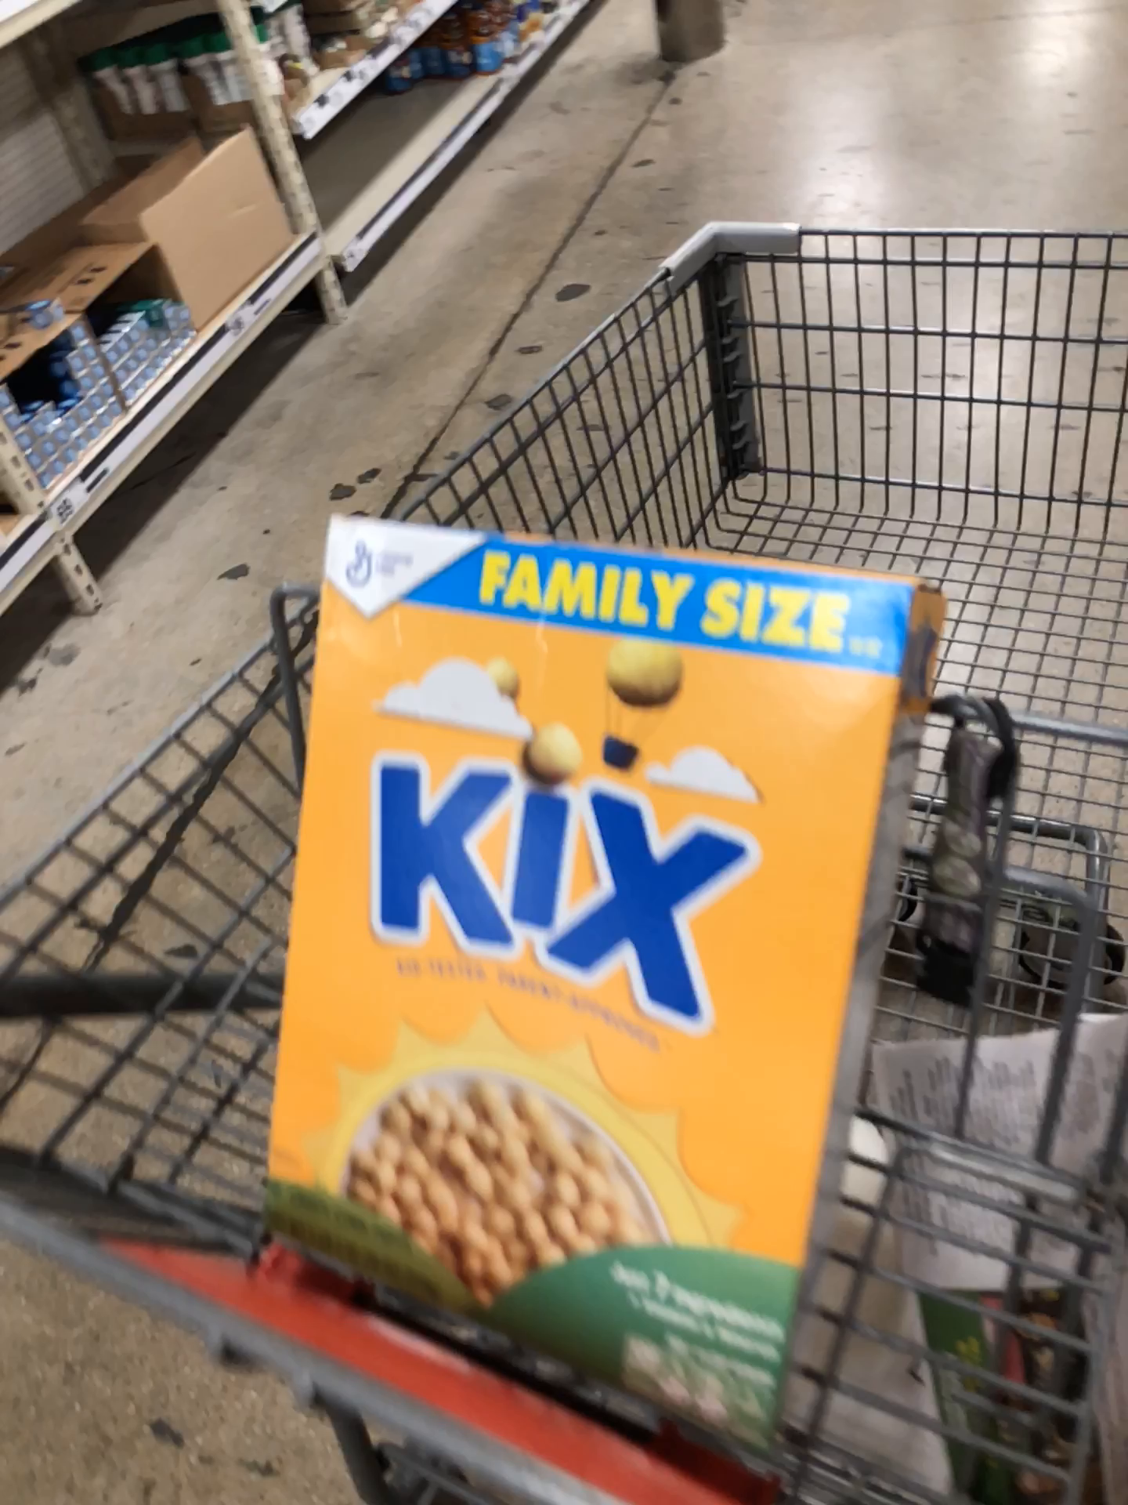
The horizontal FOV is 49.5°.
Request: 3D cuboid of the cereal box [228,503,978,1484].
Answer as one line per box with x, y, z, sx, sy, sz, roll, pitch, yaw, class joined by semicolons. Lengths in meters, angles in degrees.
0.001;0.076;0.496;0.261;0.320;0.070;11;10;25;cereal box
